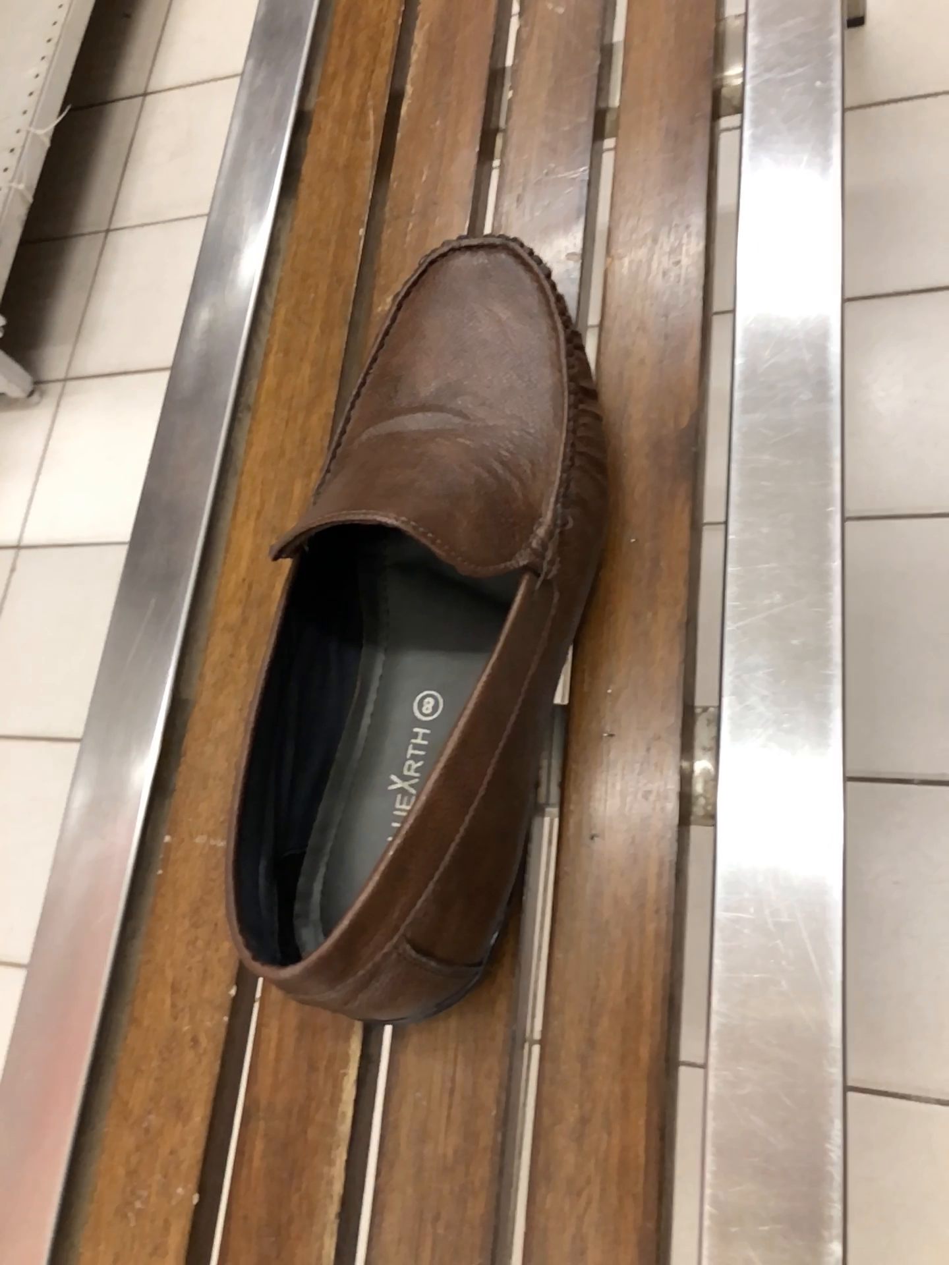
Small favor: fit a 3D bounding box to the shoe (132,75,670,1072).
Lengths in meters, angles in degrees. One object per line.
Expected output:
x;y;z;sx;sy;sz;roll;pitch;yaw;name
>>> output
-0.007;-0.024;0.353;0.104;0.093;0.302;1;71;22;shoe
